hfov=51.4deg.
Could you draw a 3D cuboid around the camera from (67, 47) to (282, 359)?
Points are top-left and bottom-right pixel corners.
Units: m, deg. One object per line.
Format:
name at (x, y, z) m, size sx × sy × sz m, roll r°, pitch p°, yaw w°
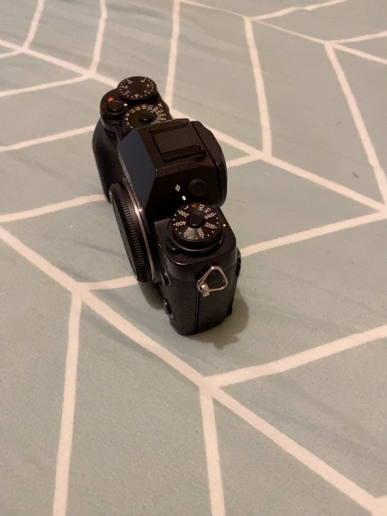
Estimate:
camera at (-0.017, -0.034, 0.218) m, size 0.054 × 0.082 × 0.142 m, roll -18°, pitch 57°, yaw -12°
